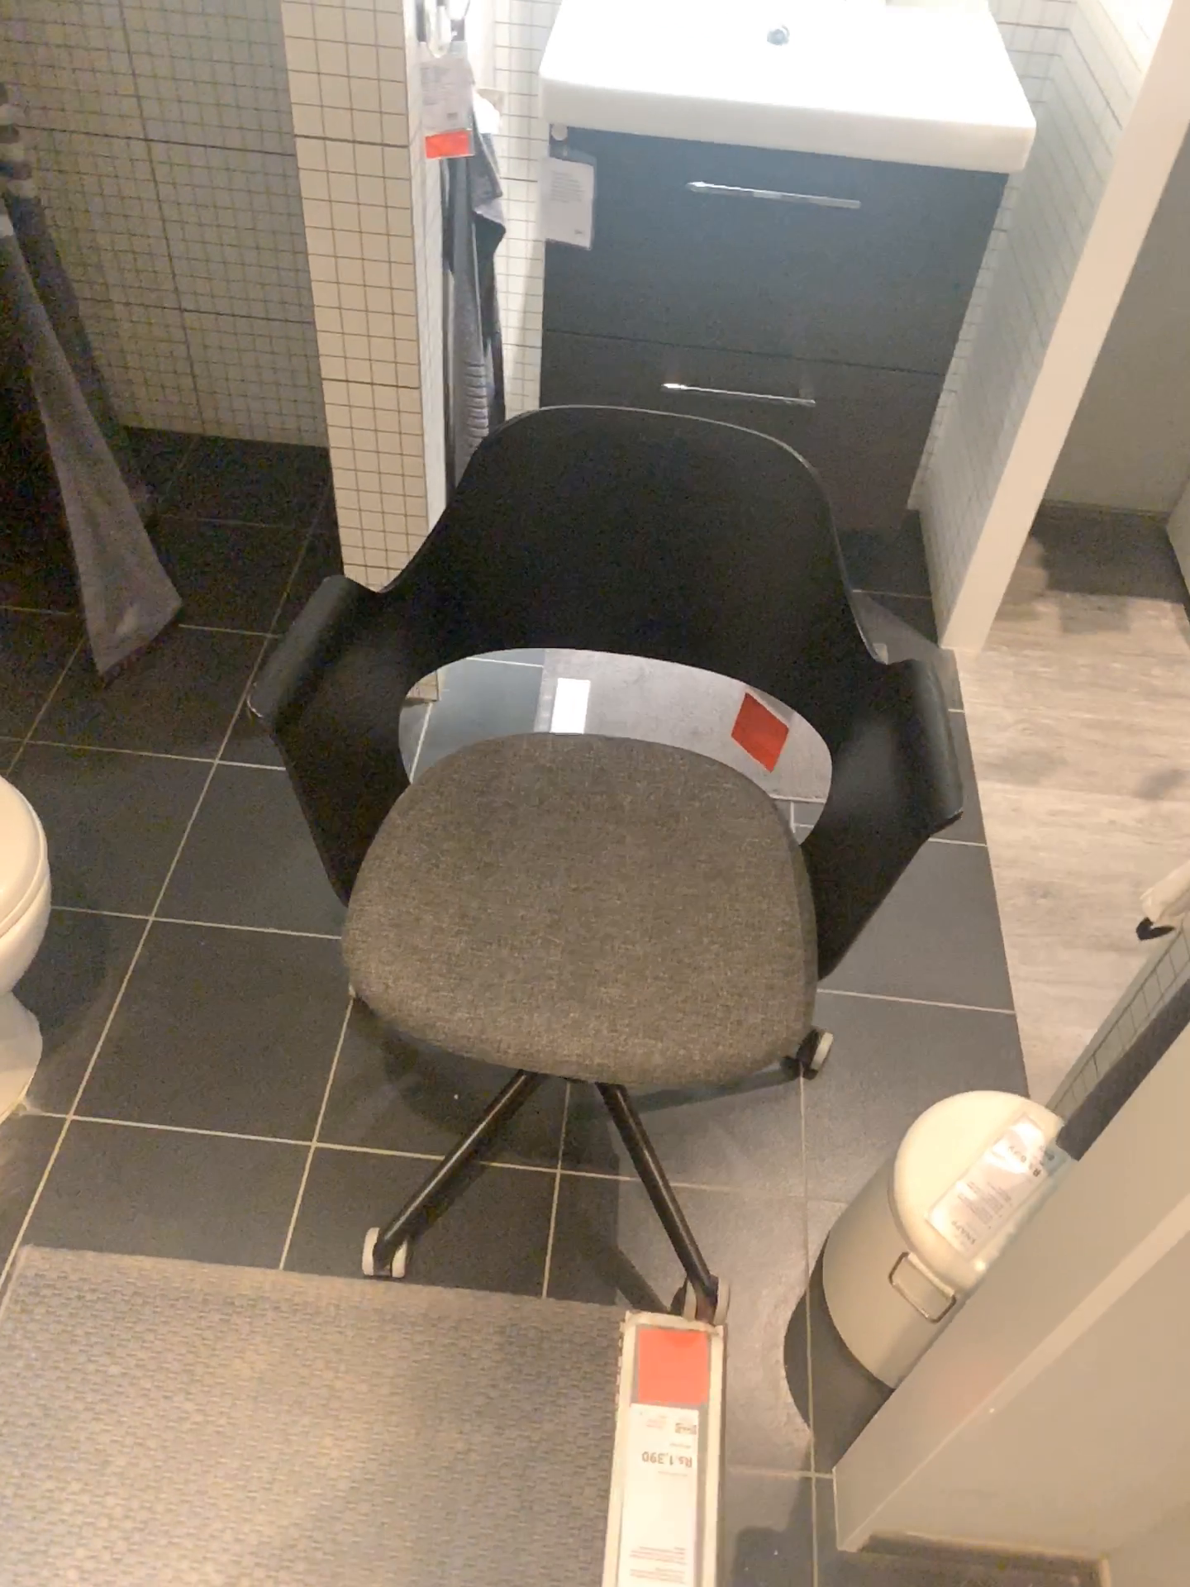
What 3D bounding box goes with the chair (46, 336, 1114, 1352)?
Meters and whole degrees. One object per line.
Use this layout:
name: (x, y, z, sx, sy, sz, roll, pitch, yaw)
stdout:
chair: (-0.005, 0.076, 1.196, 0.640, 0.737, 0.602, 7, 48, 1)
